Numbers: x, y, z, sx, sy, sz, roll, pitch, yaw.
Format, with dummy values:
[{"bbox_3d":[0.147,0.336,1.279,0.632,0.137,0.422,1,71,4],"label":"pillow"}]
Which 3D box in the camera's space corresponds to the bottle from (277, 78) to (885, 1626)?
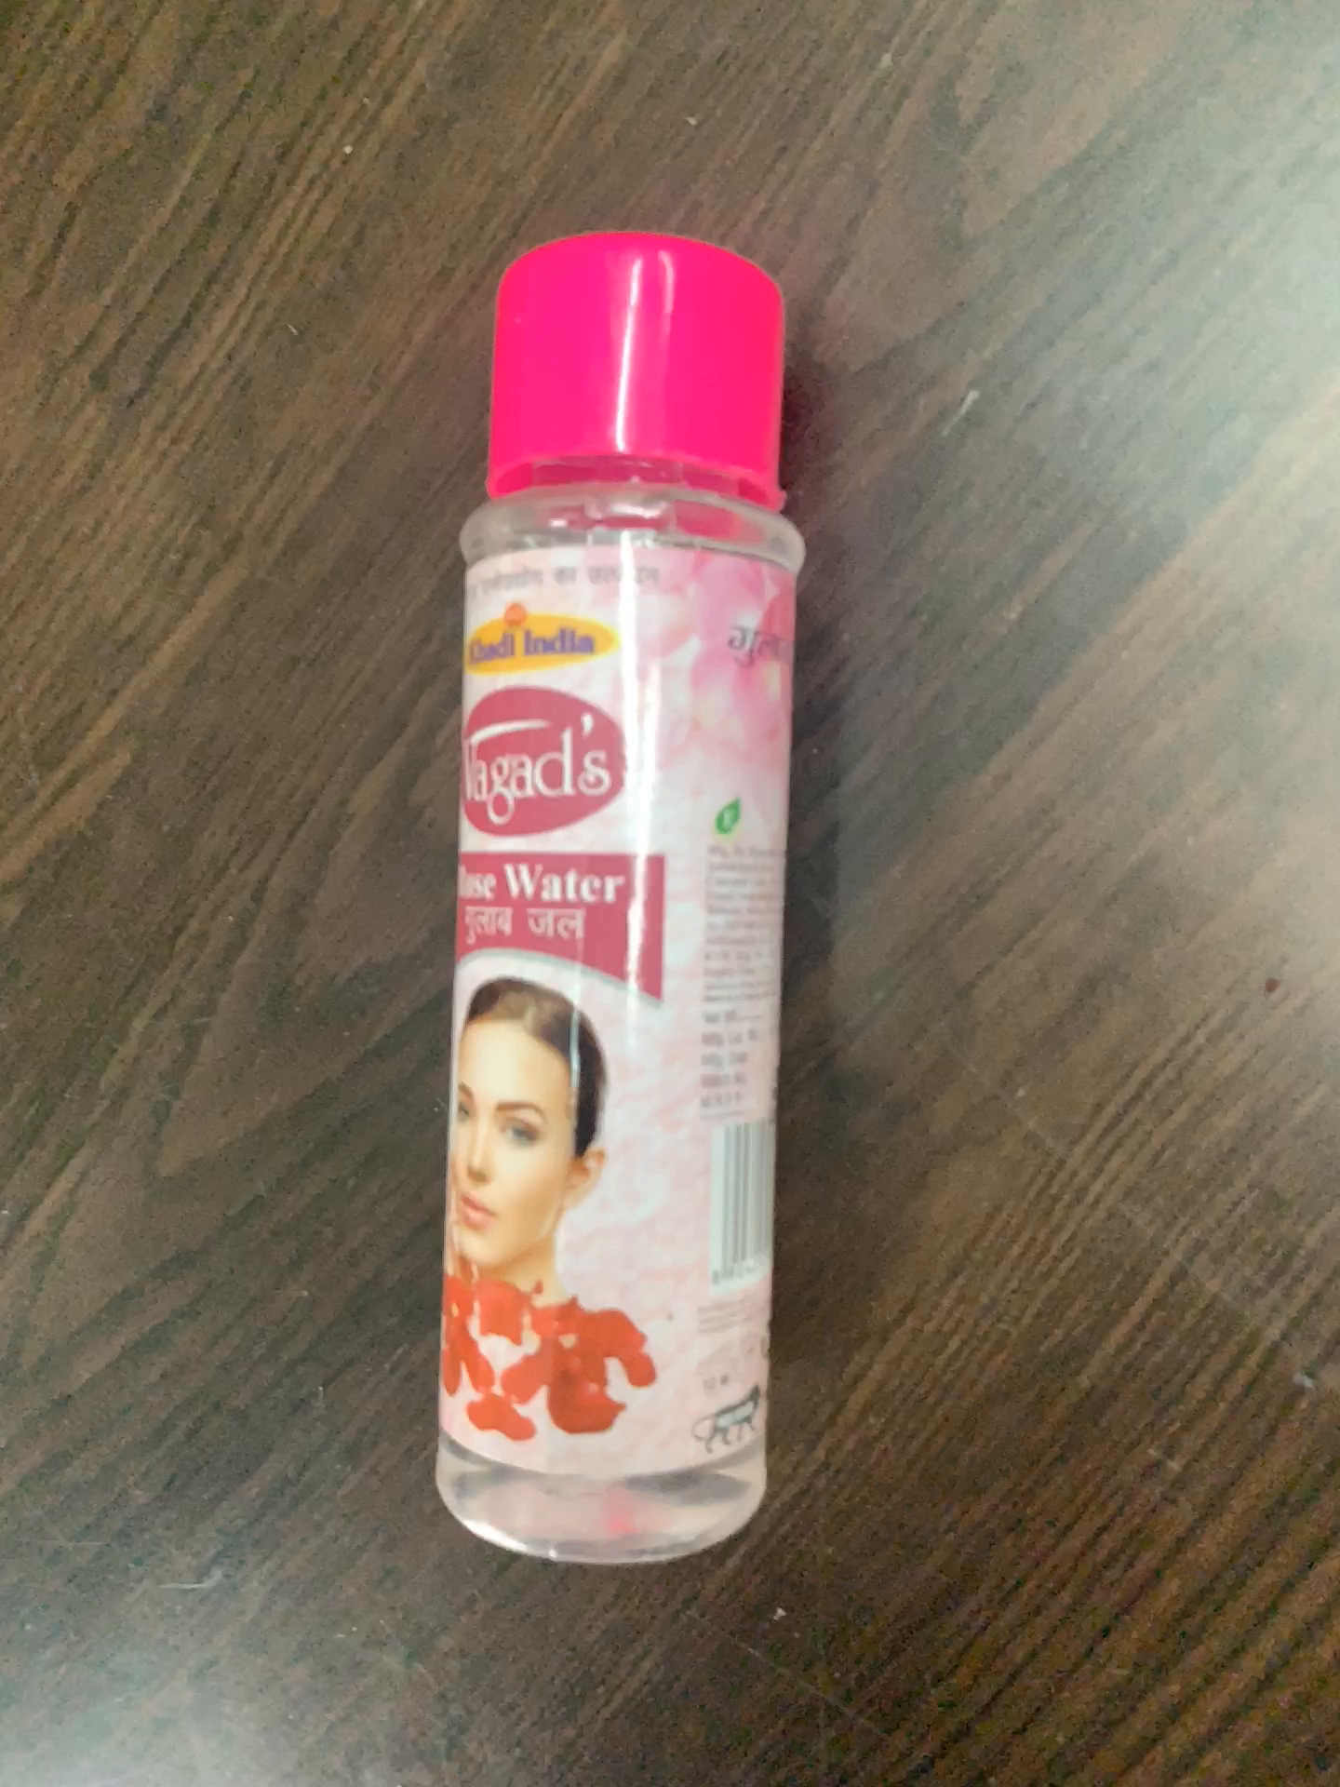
[{"bbox_3d":[-0.010,-0.003,0.155,0.050,0.040,0.140,4,94,27],"label":"bottle"}]
